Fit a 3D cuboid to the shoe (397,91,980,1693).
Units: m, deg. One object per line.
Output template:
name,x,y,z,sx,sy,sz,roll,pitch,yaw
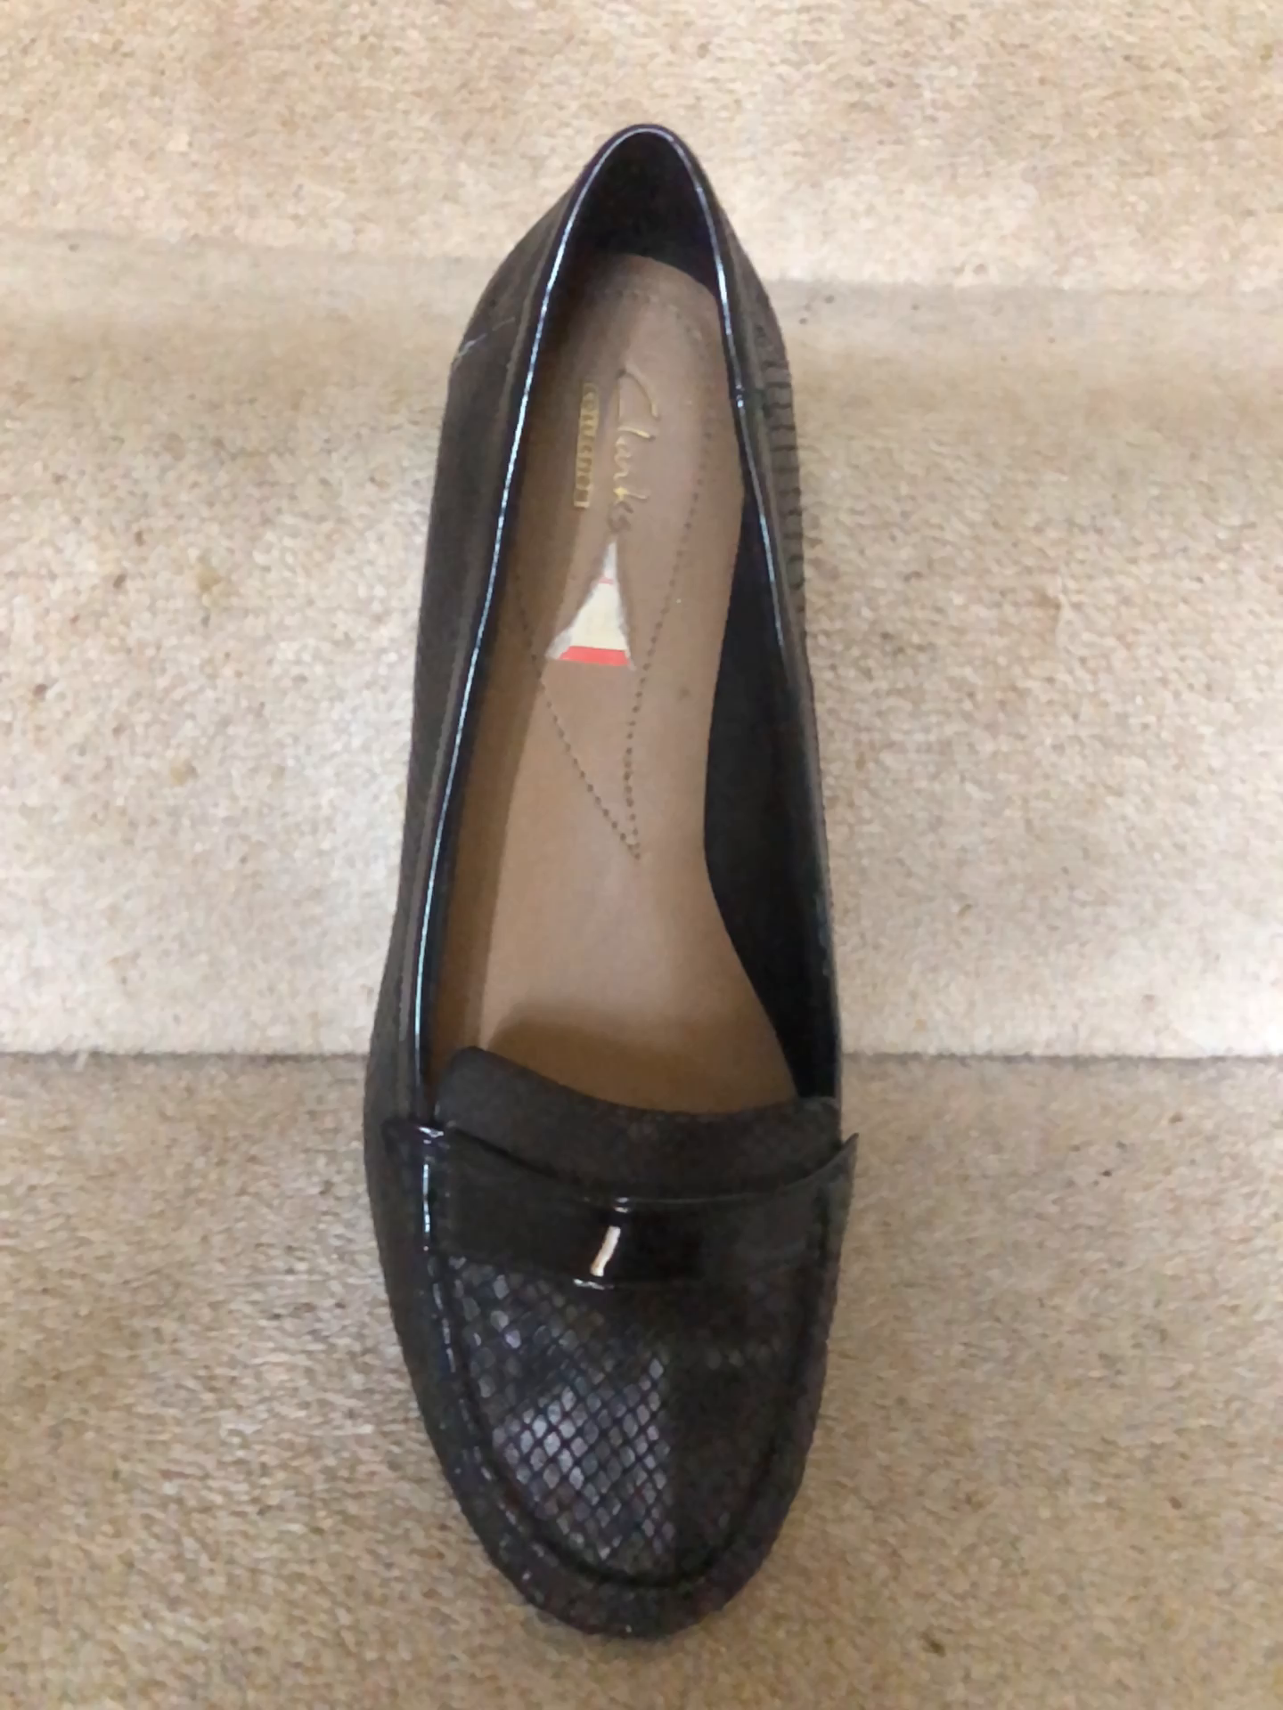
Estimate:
shoe,0.003,0.008,0.272,0.090,0.260,0.070,2,2,-10
